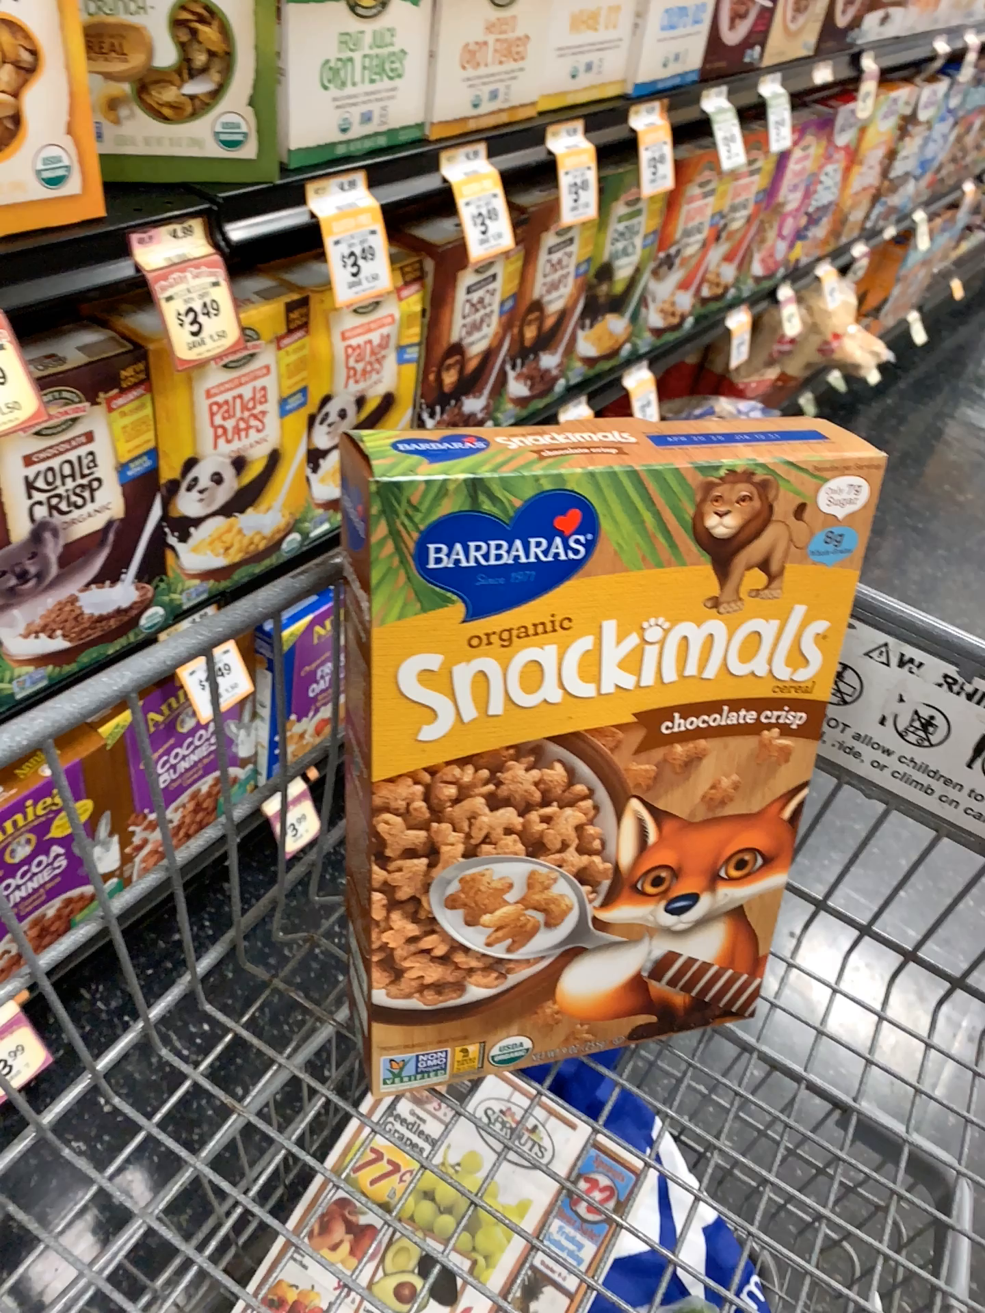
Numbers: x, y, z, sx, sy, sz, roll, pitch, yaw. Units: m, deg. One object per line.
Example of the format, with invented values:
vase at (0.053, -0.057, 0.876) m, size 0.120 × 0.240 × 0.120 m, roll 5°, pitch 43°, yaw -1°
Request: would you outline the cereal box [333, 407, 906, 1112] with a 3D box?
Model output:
cereal box at (0.033, 0.046, 0.390) m, size 0.180 × 0.269 × 0.050 m, roll -5°, pitch 31°, yaw -18°
